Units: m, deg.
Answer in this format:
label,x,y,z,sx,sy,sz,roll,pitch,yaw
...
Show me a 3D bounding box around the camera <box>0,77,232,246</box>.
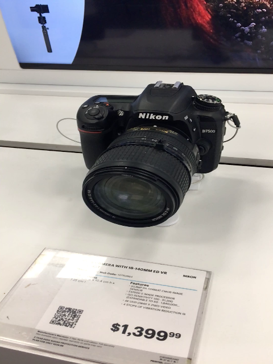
label,x,y,z,sx,sy,sz,roll,pitch,yaw
camera,-0.002,-0.032,0.358,0.151,0.092,0.165,9,38,17
